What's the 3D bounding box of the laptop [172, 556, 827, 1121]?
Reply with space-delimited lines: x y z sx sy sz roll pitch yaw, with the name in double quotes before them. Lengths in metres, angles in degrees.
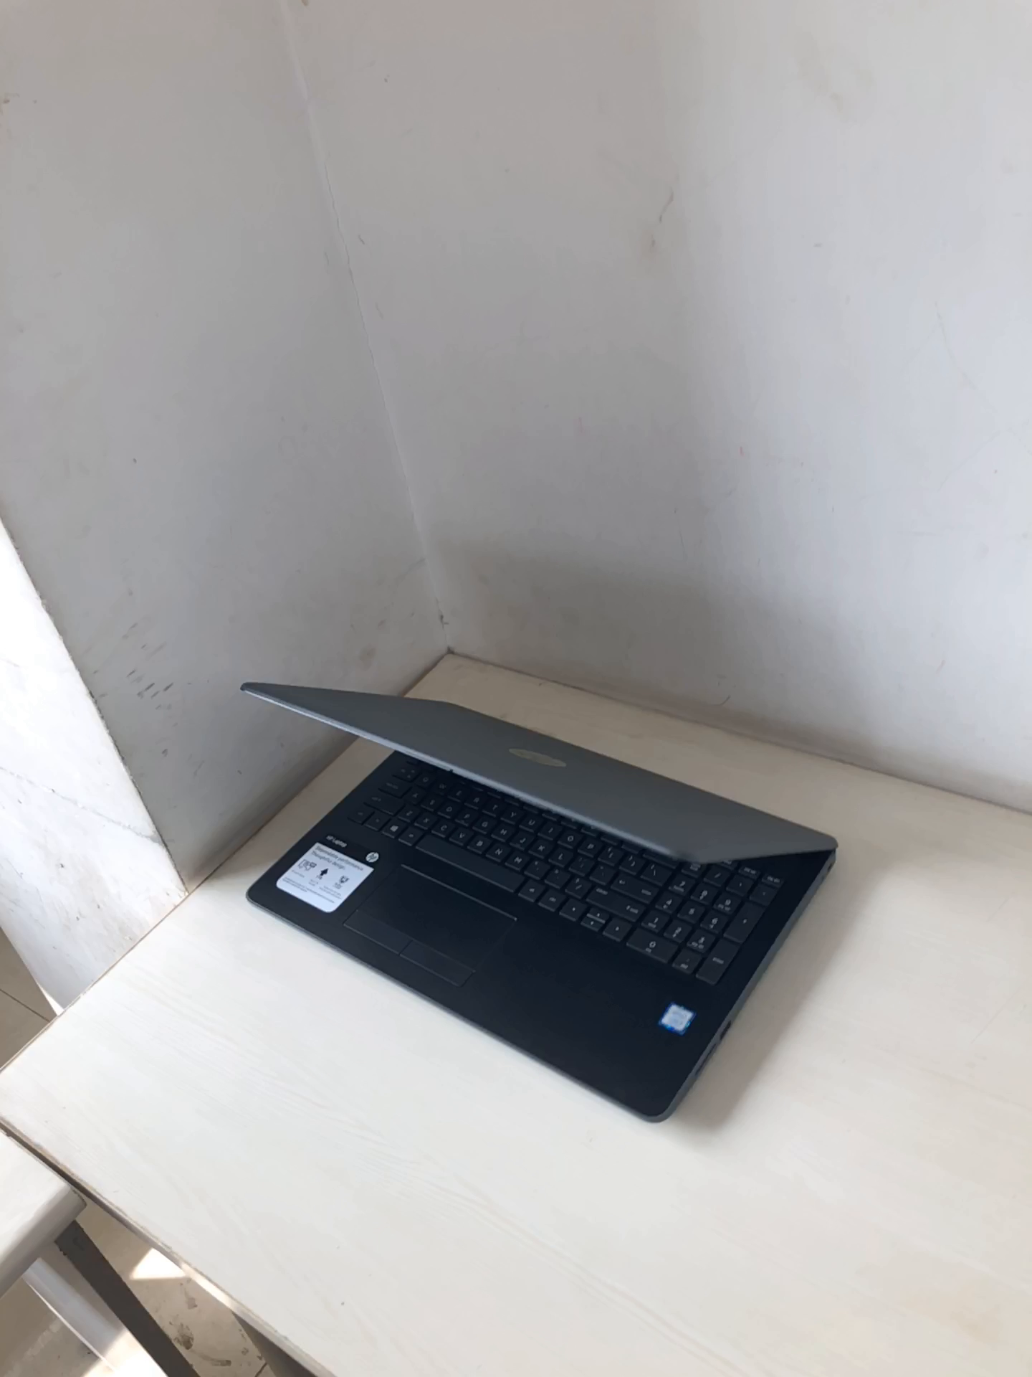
"laptop" -0.004 0.072 0.782 0.356 0.157 0.245 18 45 32
